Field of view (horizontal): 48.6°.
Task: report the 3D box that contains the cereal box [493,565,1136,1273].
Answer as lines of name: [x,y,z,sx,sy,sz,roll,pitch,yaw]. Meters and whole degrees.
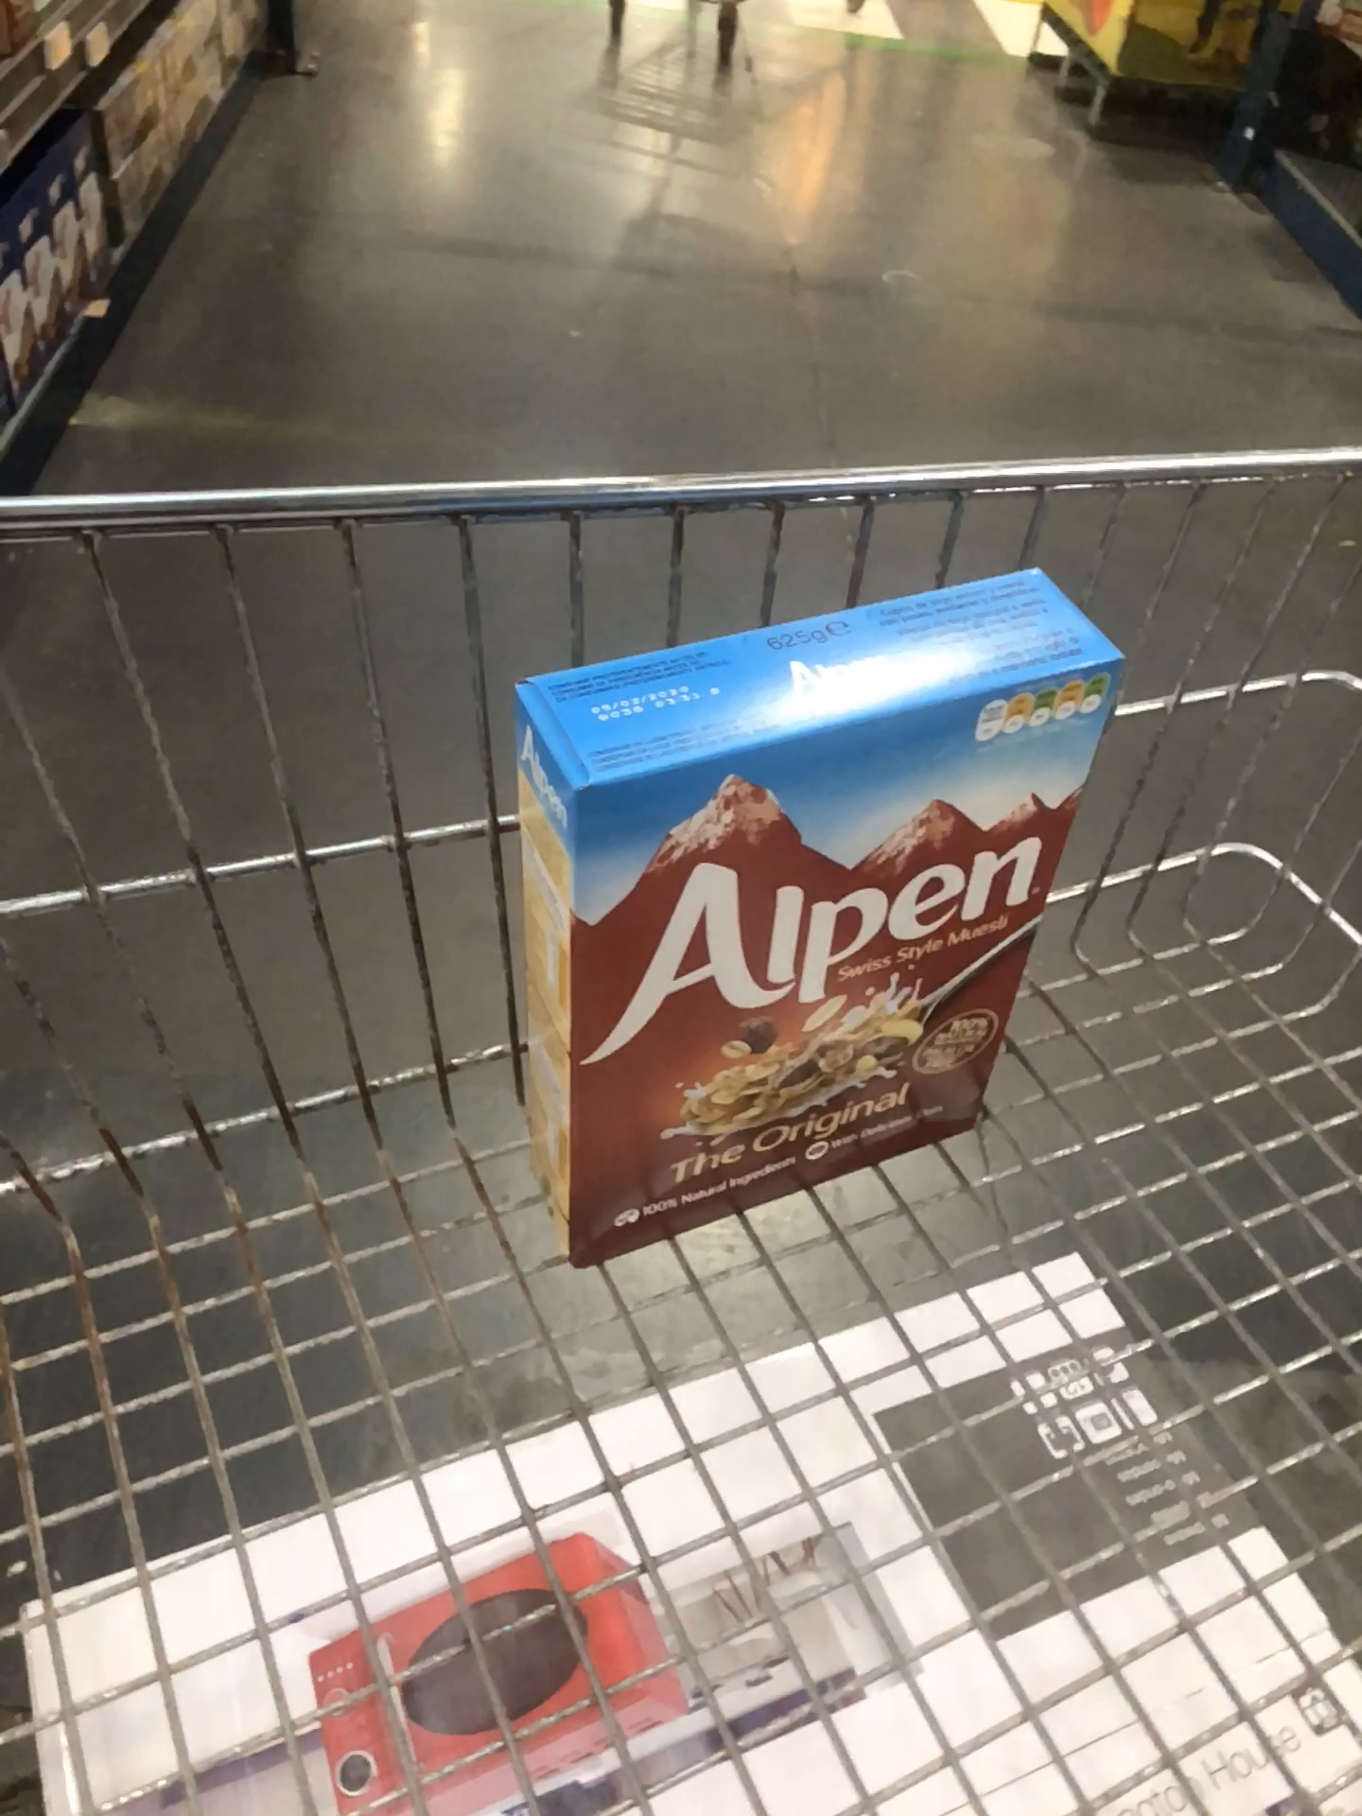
cereal box: [0.033,0.010,0.511,0.180,0.219,0.060,-15,48,-21]
